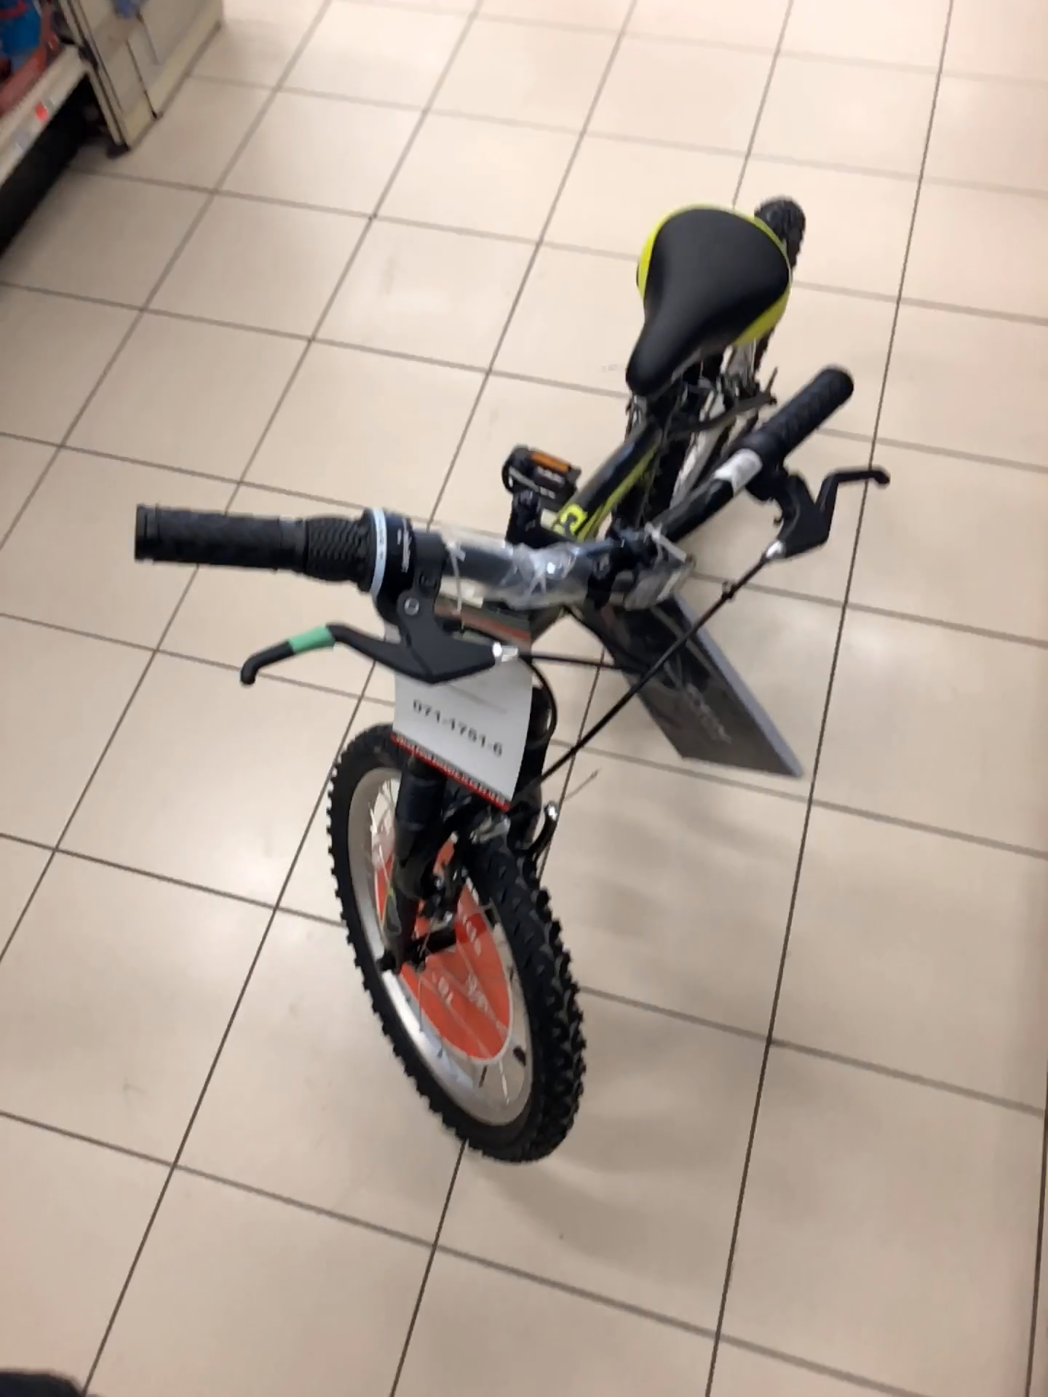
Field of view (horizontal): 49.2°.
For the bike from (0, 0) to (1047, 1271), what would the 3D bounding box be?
[{"bbox_3d":[0.163,-0.189,1.132,0.549,0.862,1.197,14,62,10],"label":"bike"}]
